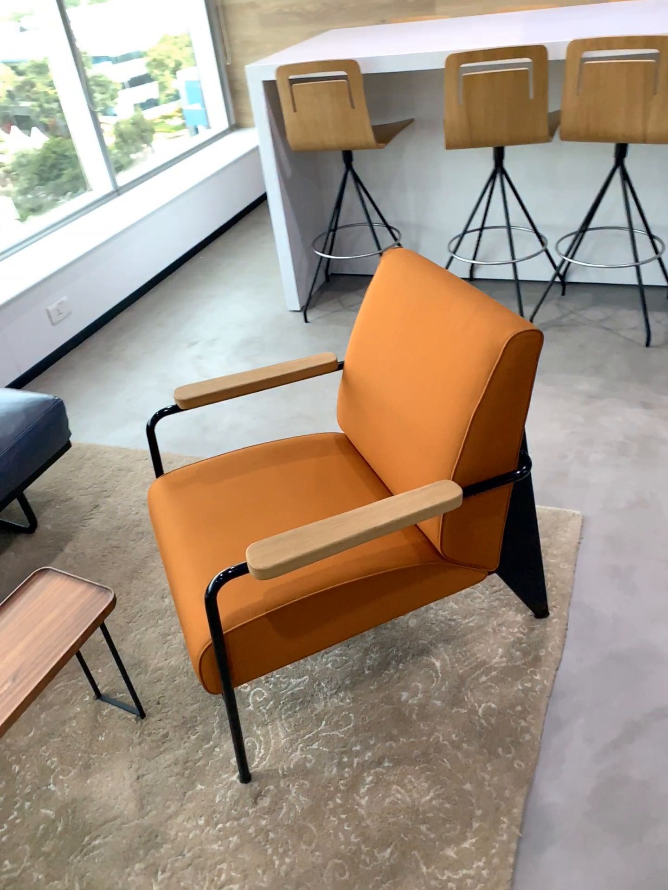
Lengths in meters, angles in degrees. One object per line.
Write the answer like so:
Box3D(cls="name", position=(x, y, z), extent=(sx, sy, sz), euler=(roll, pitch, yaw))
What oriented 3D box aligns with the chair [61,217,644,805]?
Box3D(cls="chair", position=(-0.001, 0.066, 1.466), extent=(0.861, 0.734, 0.736), euler=(-18, 37, -14))
